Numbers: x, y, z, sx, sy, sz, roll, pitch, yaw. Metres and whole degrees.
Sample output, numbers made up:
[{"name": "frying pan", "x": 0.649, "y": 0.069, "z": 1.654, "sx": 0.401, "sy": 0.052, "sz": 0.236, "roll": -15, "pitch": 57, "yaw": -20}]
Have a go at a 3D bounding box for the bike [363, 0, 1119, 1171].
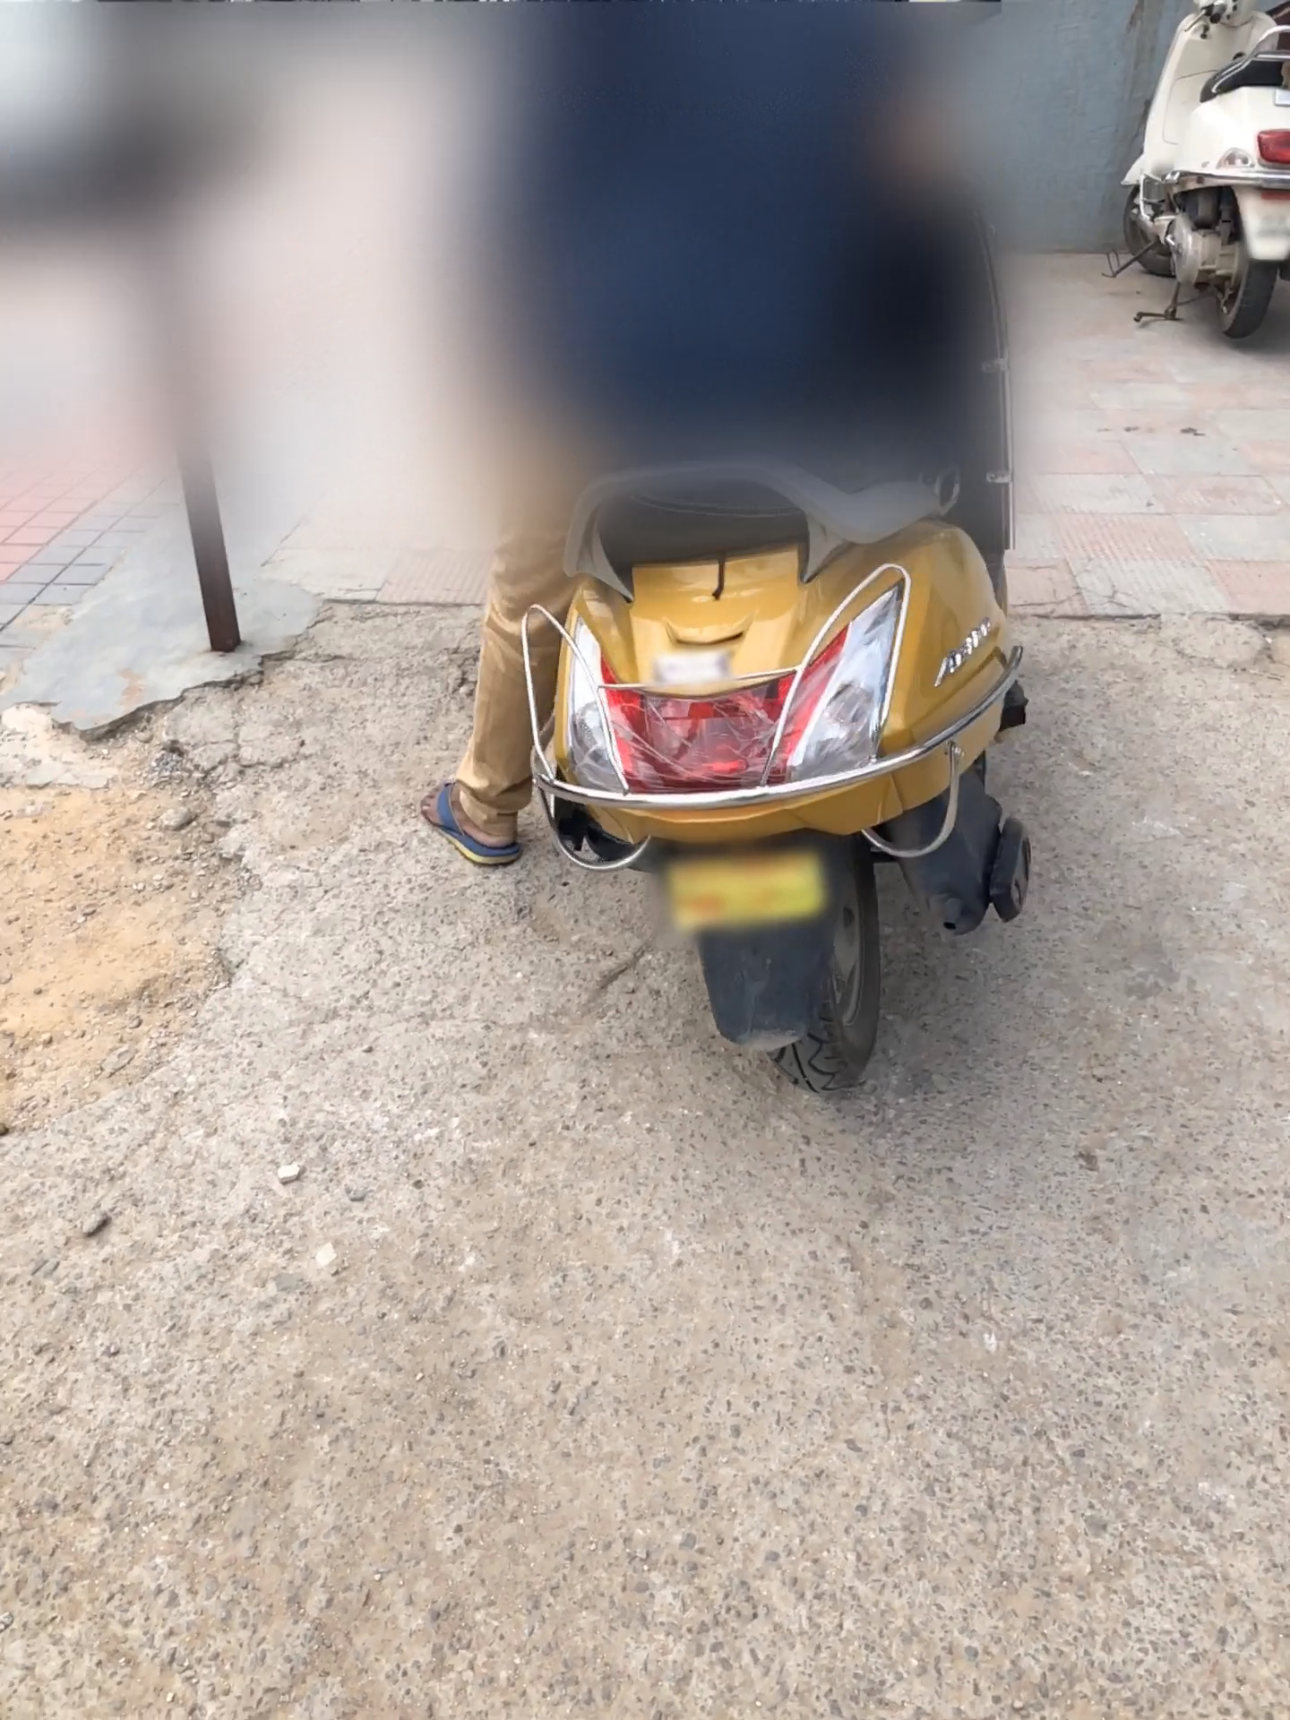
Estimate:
[{"name": "bike", "x": 0.153, "y": -0.623, "z": 1.993, "sx": 0.584, "sy": 1.153, "sz": 1.537, "roll": 5, "pitch": 35, "yaw": 6}]
